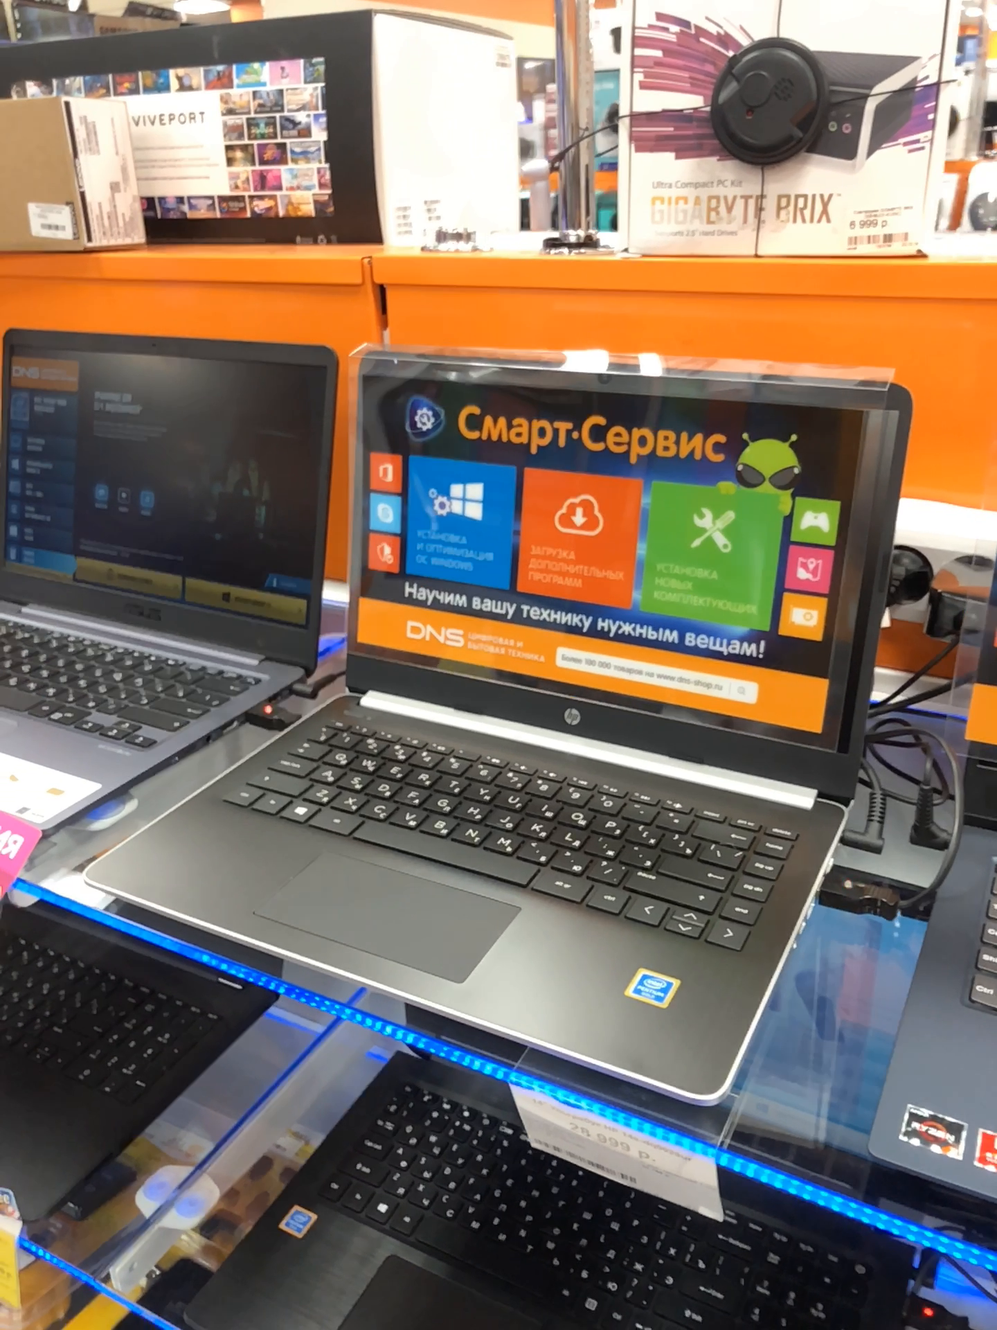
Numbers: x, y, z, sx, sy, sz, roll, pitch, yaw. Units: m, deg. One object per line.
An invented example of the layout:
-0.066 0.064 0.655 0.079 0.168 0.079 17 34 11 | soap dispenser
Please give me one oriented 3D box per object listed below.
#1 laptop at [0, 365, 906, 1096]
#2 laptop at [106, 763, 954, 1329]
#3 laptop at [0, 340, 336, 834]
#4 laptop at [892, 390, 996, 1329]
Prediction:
-0.003 -0.013 0.530 0.313 0.197 0.268 11 28 27 | laptop
0.027 0.254 0.616 0.363 0.245 0.251 11 27 28 | laptop
-0.314 -0.084 0.715 0.313 0.199 0.280 11 26 26 | laptop
0.302 0.042 0.359 0.276 0.205 0.249 10 27 29 | laptop
